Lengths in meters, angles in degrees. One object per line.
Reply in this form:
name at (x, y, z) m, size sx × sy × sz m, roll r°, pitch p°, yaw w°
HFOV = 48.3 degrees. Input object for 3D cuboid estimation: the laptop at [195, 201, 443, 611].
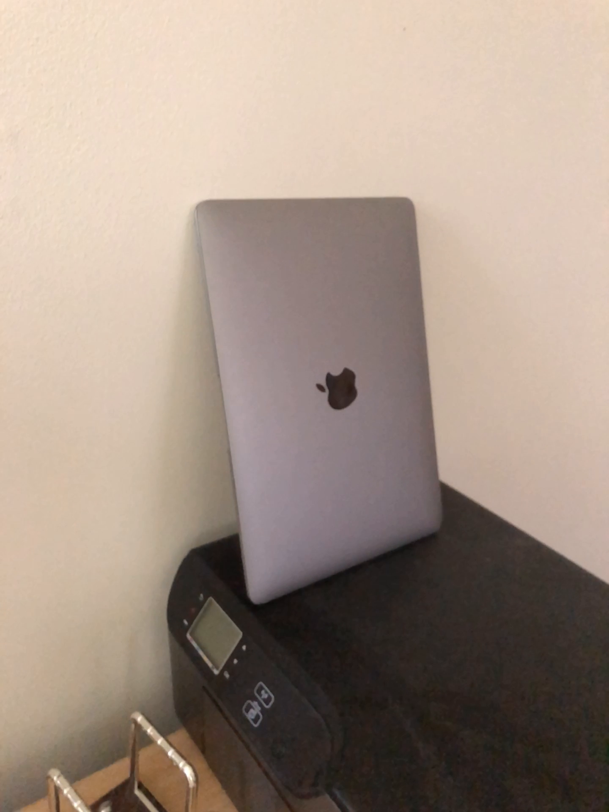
laptop at (0.024, -0.011, 0.516) m, size 0.196 × 0.275 × 0.002 m, roll -13°, pitch 9°, yaw -35°
